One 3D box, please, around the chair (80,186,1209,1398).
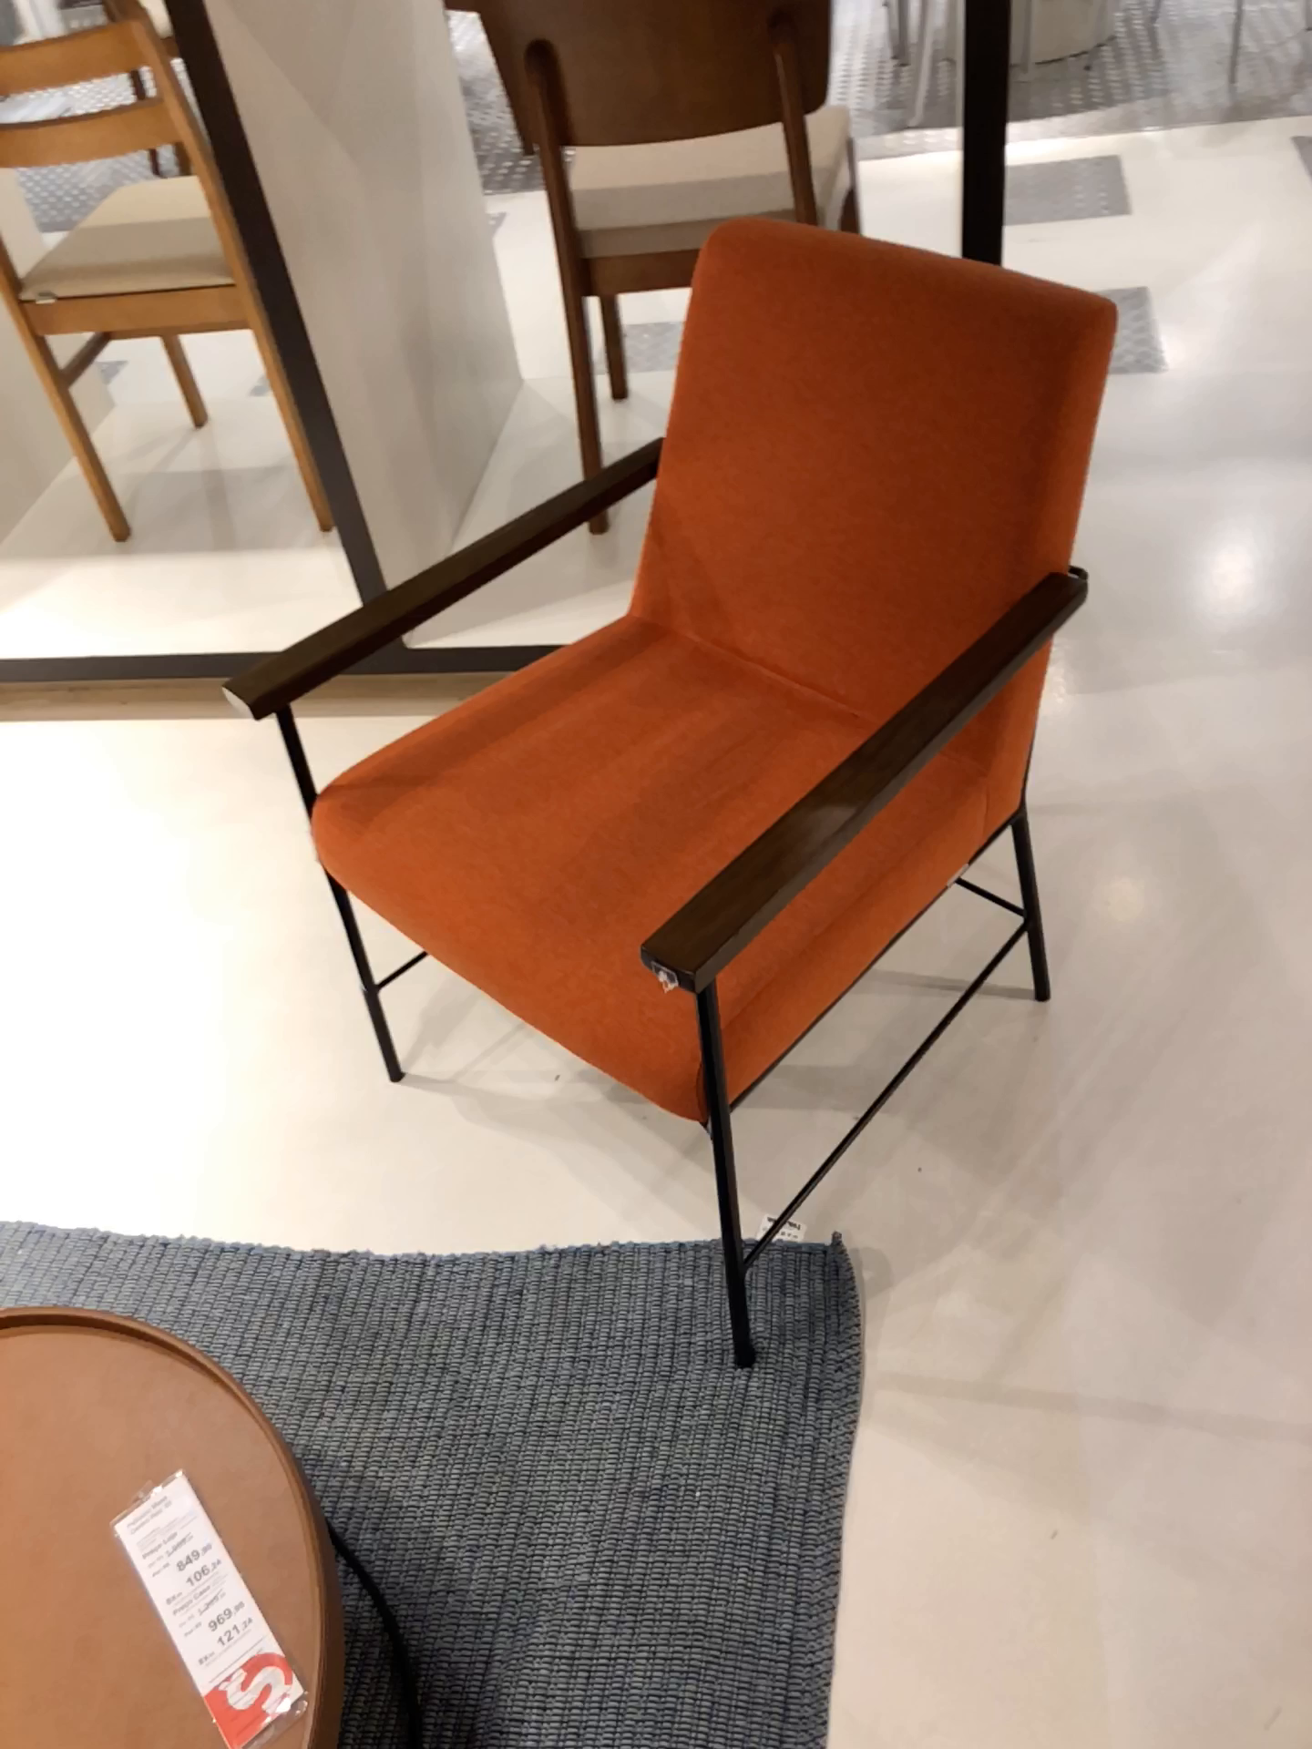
[{"bbox_3d":[0.038,-0.110,1.490,0.652,0.825,0.703,30,57,35],"label":"chair"}]
